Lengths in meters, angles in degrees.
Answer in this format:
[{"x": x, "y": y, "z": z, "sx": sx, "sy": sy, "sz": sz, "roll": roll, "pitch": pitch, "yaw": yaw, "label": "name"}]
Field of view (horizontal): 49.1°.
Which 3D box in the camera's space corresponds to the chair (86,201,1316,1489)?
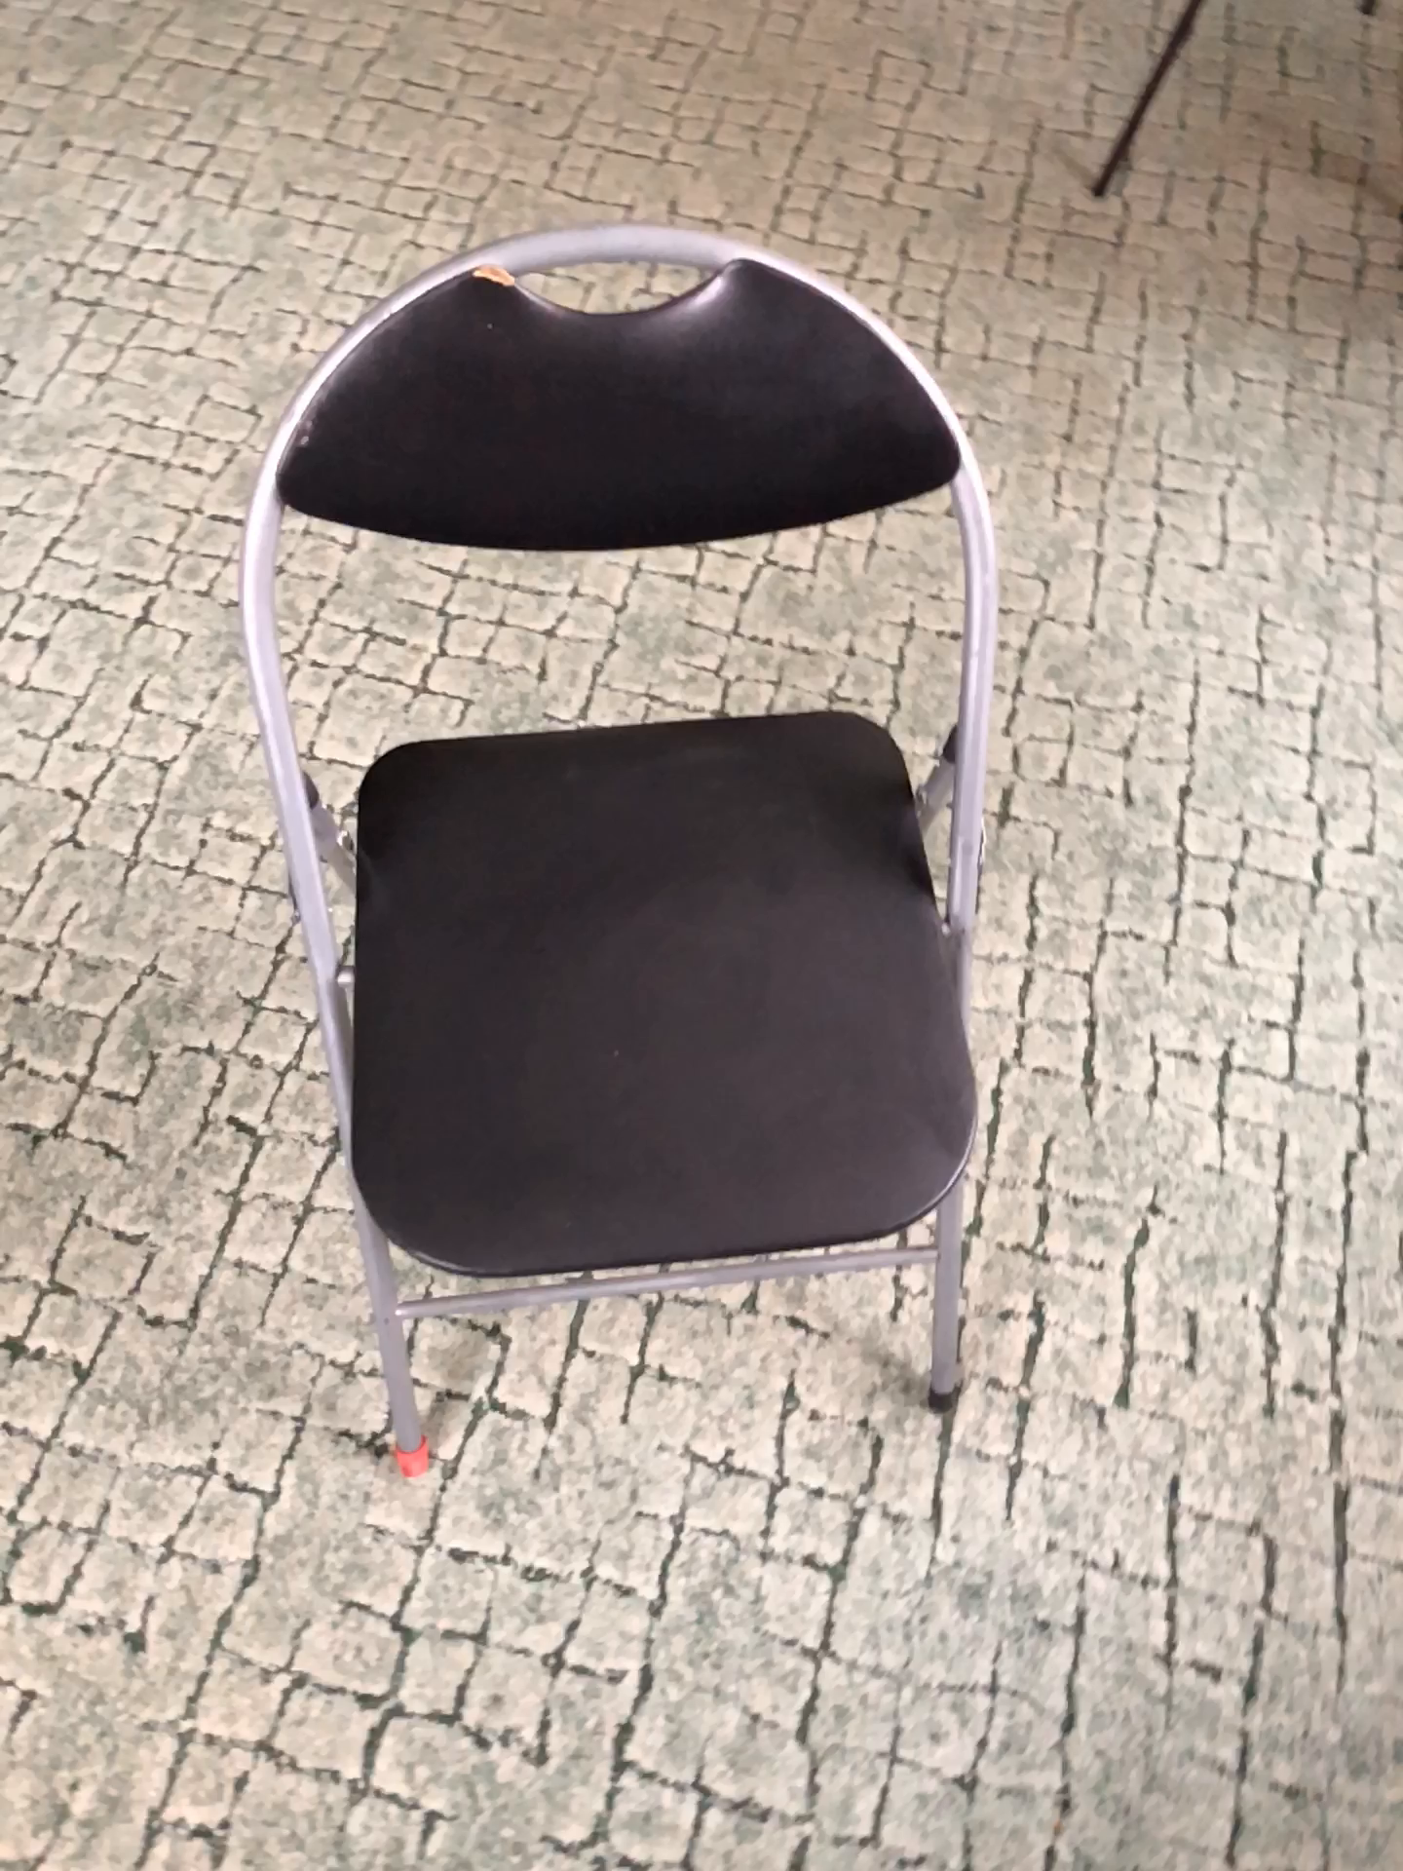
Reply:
[{"x": -0.031, "y": 0.013, "z": 1.002, "sx": 0.456, "sy": 0.733, "sz": 0.477, "roll": -5, "pitch": 59, "yaw": -5, "label": "chair"}]
